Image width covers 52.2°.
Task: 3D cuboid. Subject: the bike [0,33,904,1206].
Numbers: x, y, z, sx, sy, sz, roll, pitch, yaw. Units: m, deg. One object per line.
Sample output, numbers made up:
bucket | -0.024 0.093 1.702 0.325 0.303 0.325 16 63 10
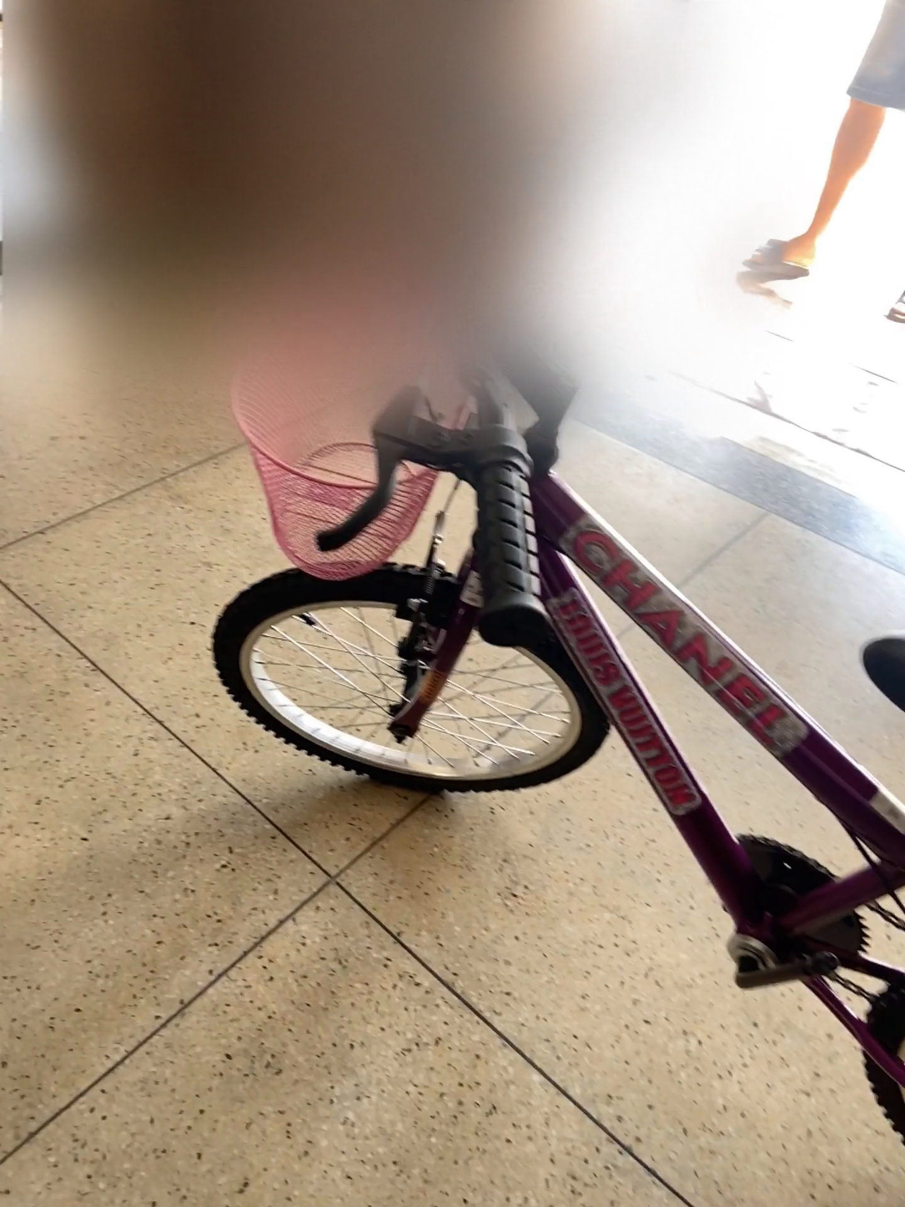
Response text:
bike | 0.249 0.202 0.758 1.262 0.933 0.618 26 45 24
